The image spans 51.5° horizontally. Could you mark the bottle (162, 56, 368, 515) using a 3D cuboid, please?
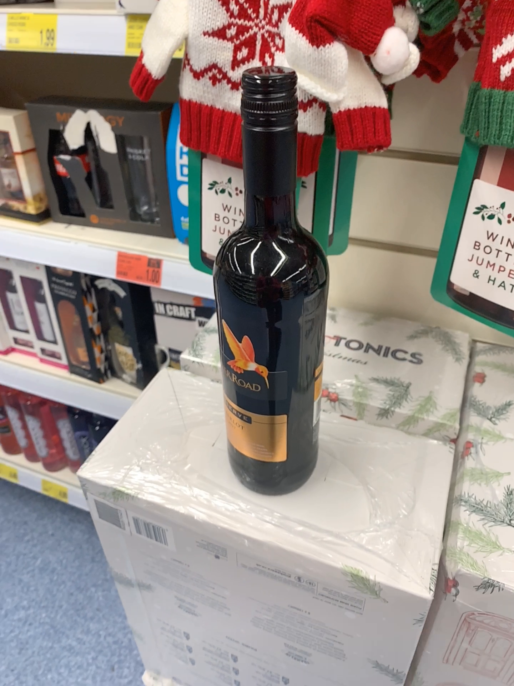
[{"bbox_3d":[0.004,-0.022,0.356,0.074,0.288,0.078,0,35,0],"label":"bottle"}]
